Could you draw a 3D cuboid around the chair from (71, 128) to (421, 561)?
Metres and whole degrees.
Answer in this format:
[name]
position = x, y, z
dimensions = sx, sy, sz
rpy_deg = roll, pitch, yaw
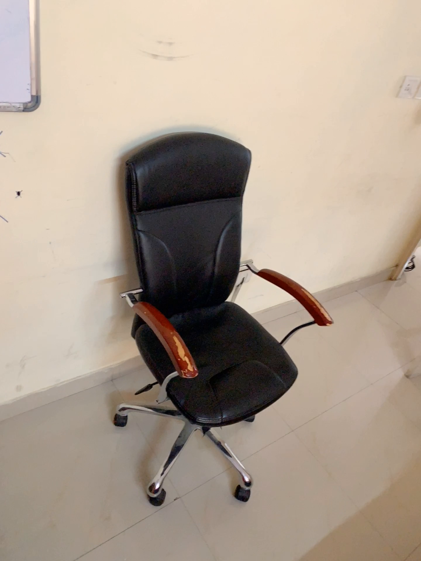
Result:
[chair]
position = 0.021, 0.163, 1.452
dimensions = 0.702, 1.081, 0.754
rpy_deg = -14, 45, -34
